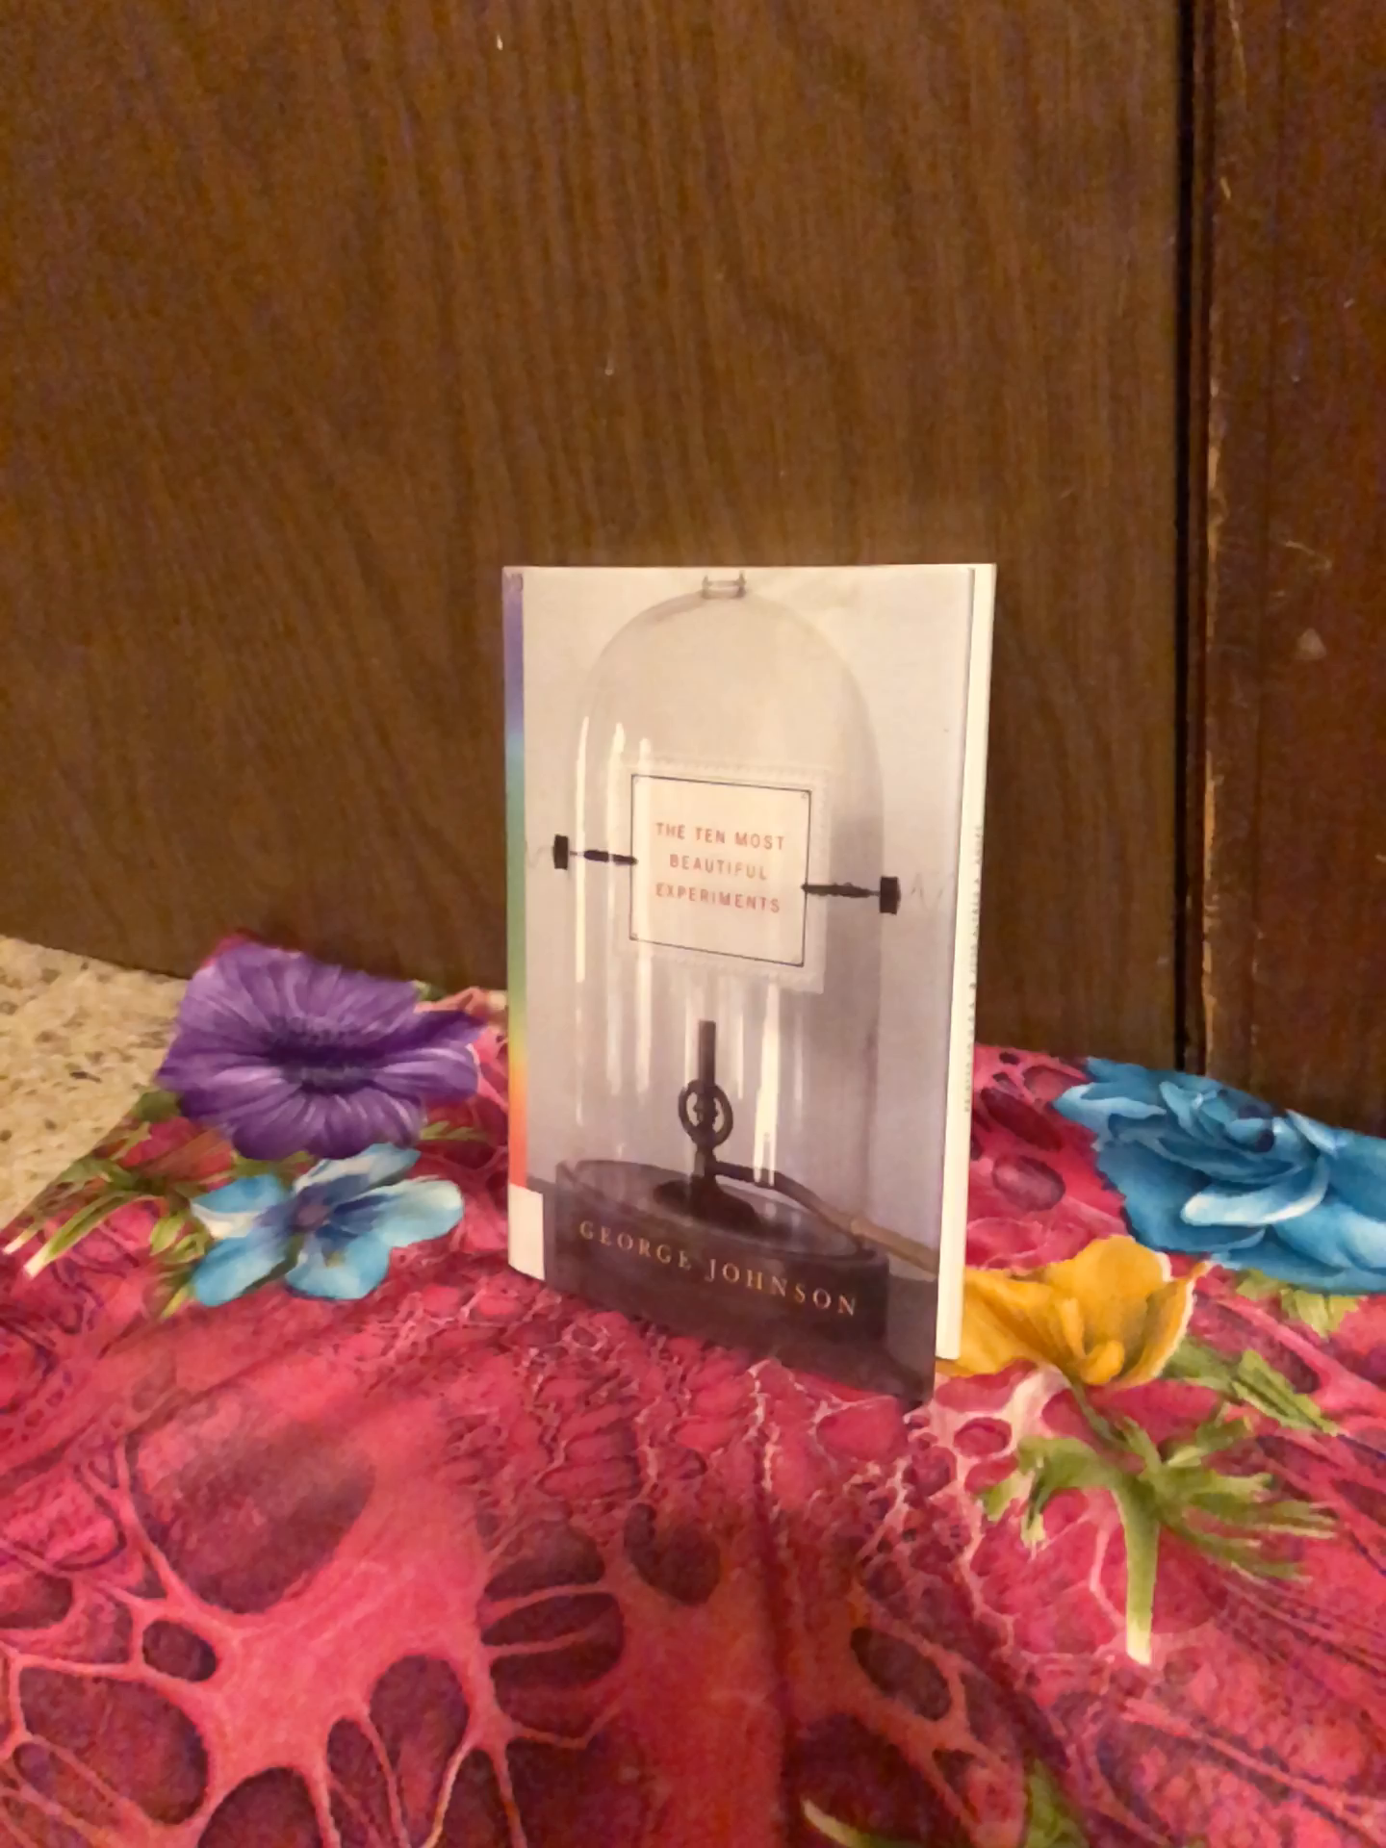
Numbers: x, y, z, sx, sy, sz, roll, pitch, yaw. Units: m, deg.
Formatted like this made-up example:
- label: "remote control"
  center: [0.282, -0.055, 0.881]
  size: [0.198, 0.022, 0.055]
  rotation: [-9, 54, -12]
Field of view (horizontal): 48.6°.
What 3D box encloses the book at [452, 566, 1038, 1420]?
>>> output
- label: "book"
  center: [0.006, 0.009, 0.383]
  size: [0.140, 0.190, 0.033]
  rotation: [8, 12, 30]
